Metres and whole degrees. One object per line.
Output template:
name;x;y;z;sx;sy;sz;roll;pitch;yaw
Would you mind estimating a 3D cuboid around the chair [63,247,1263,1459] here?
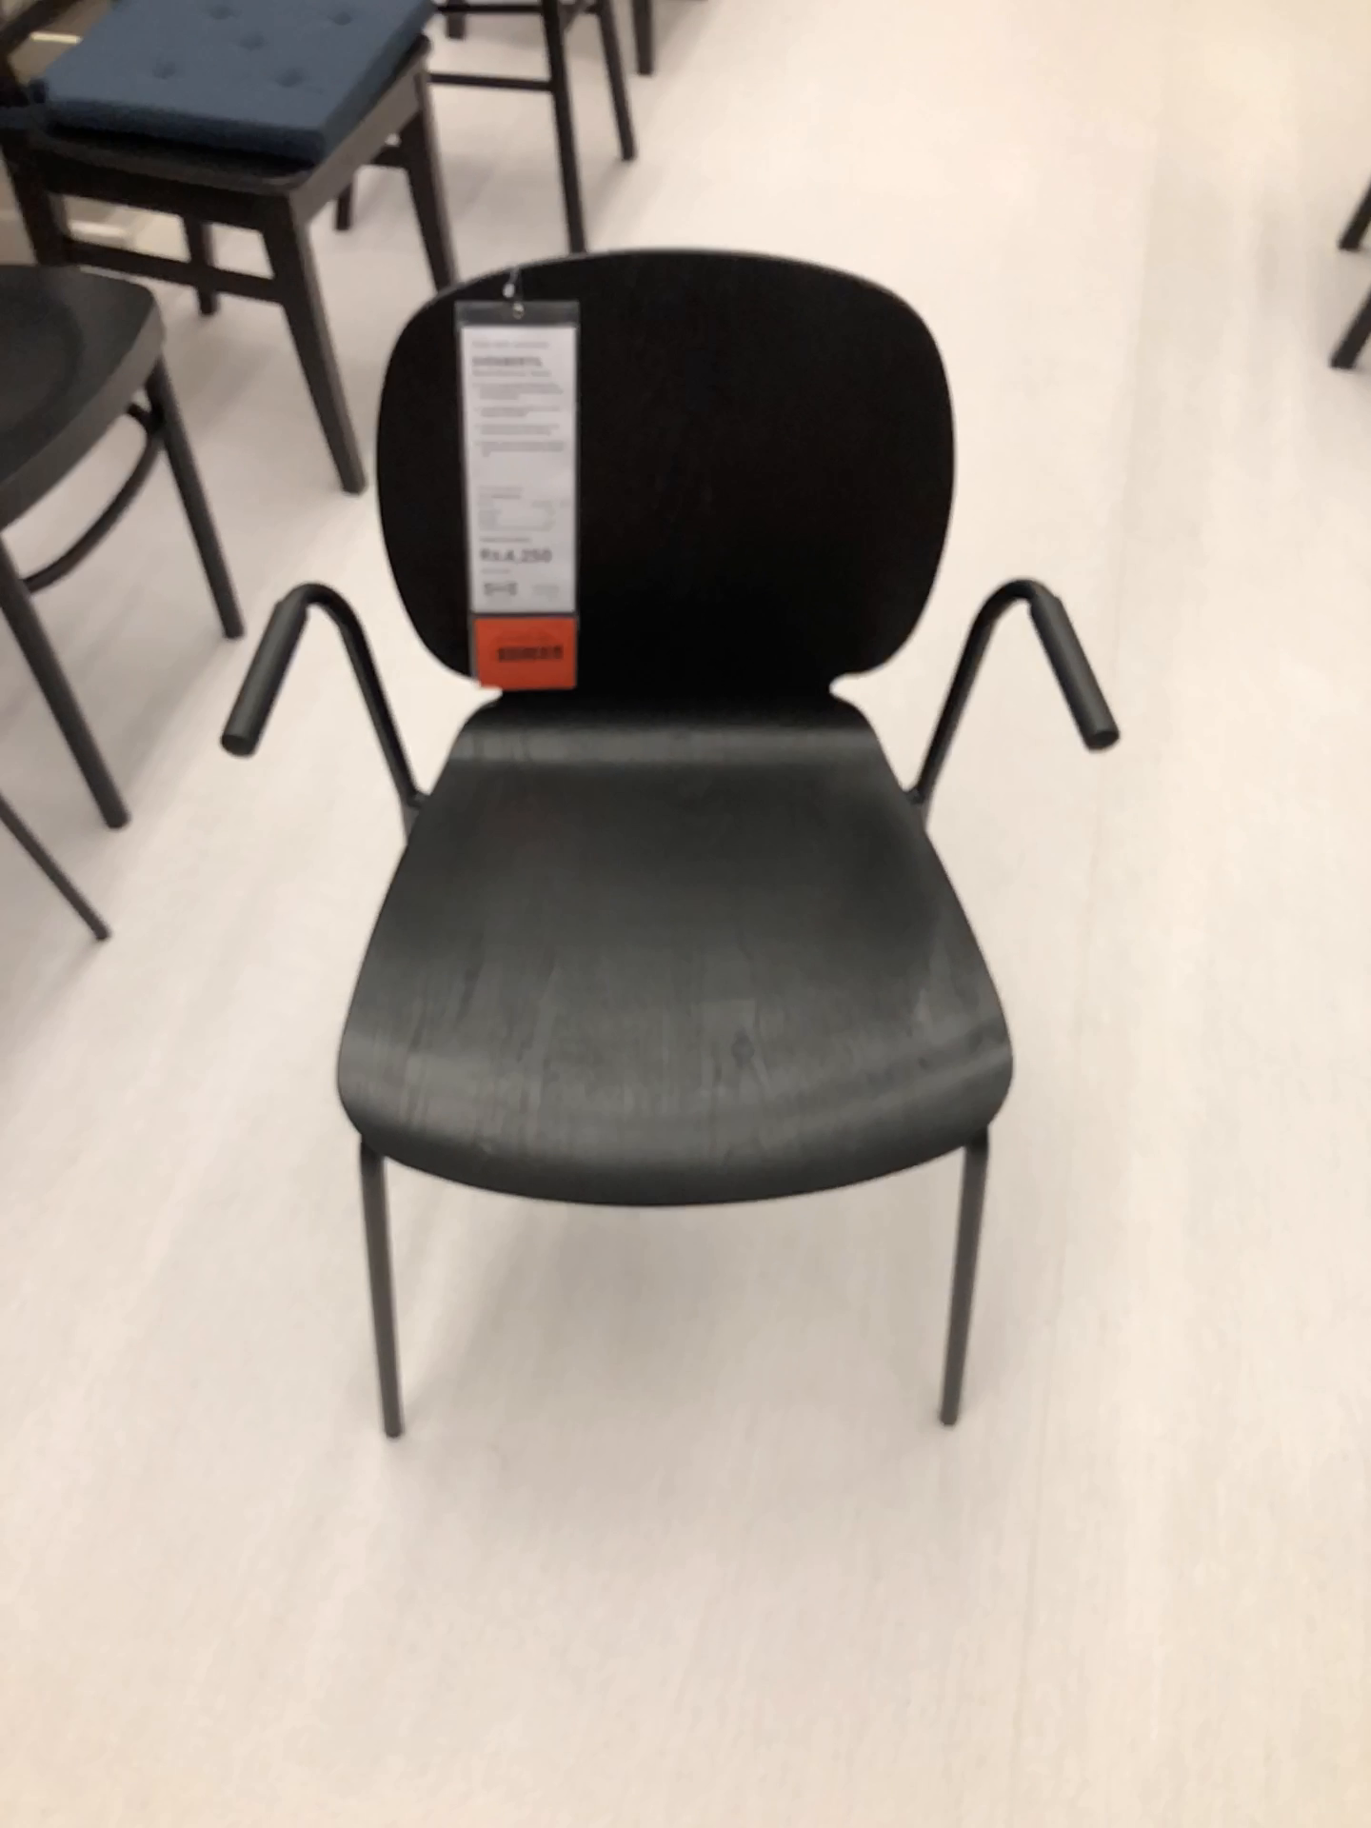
chair;-0.008;-0.008;1.123;0.530;0.686;0.583;1;52;0
